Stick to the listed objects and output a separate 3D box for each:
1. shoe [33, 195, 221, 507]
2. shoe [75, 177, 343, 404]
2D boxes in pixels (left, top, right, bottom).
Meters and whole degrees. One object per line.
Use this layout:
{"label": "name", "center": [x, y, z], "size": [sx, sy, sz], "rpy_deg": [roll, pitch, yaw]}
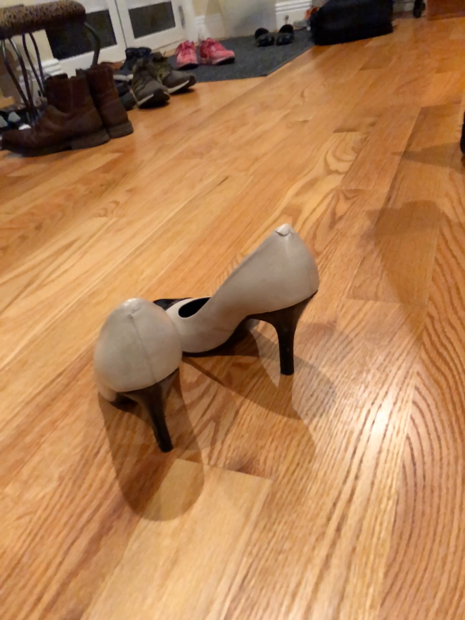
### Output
{"label": "shoe", "center": [-0.098, 0.013, 0.427], "size": [0.085, 0.138, 0.236], "rpy_deg": [-18, 32, -12]}
{"label": "shoe", "center": [-0.025, -0.032, 0.477], "size": [0.235, 0.138, 0.085], "rpy_deg": [18, 41, 38]}
